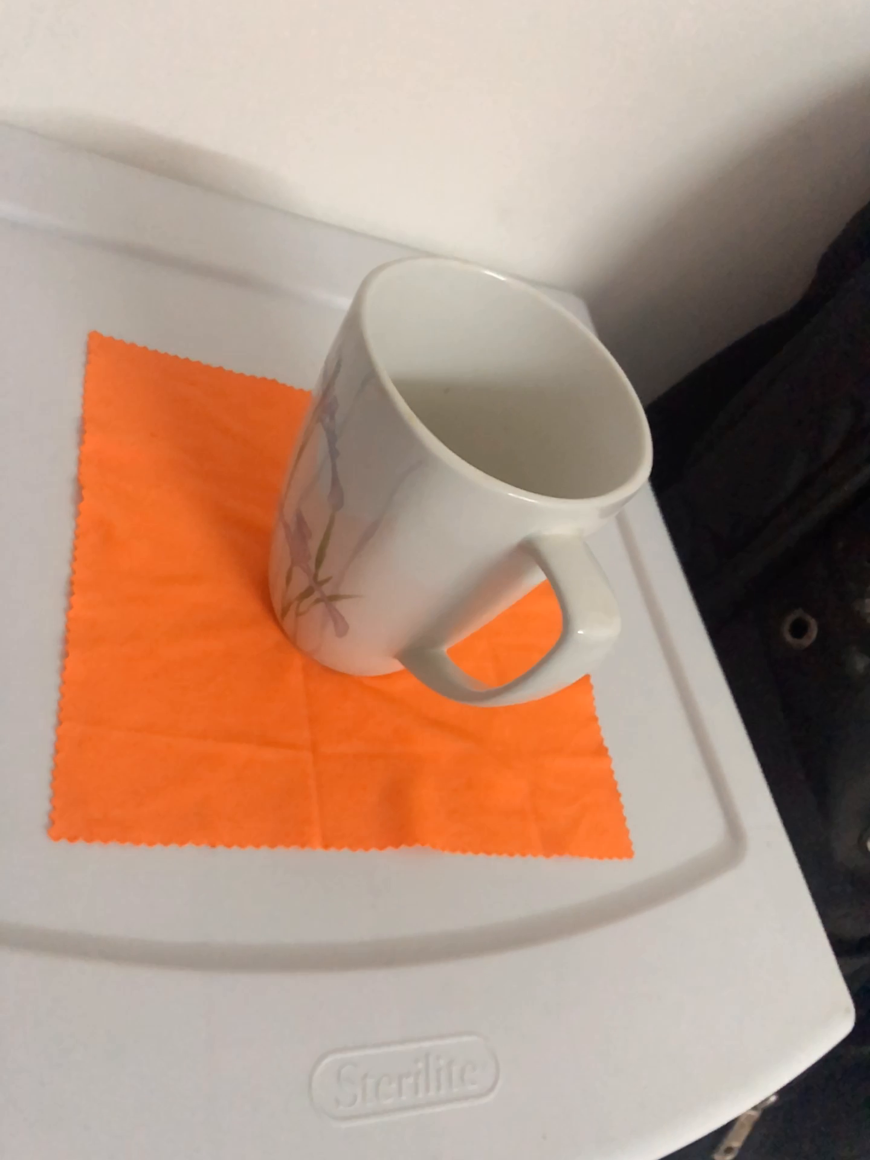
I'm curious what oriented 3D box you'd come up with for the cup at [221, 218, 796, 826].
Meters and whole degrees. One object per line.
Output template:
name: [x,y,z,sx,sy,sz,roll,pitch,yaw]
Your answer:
cup: [0.009,-0.013,0.275,0.090,0.100,0.120,0,57,-32]
